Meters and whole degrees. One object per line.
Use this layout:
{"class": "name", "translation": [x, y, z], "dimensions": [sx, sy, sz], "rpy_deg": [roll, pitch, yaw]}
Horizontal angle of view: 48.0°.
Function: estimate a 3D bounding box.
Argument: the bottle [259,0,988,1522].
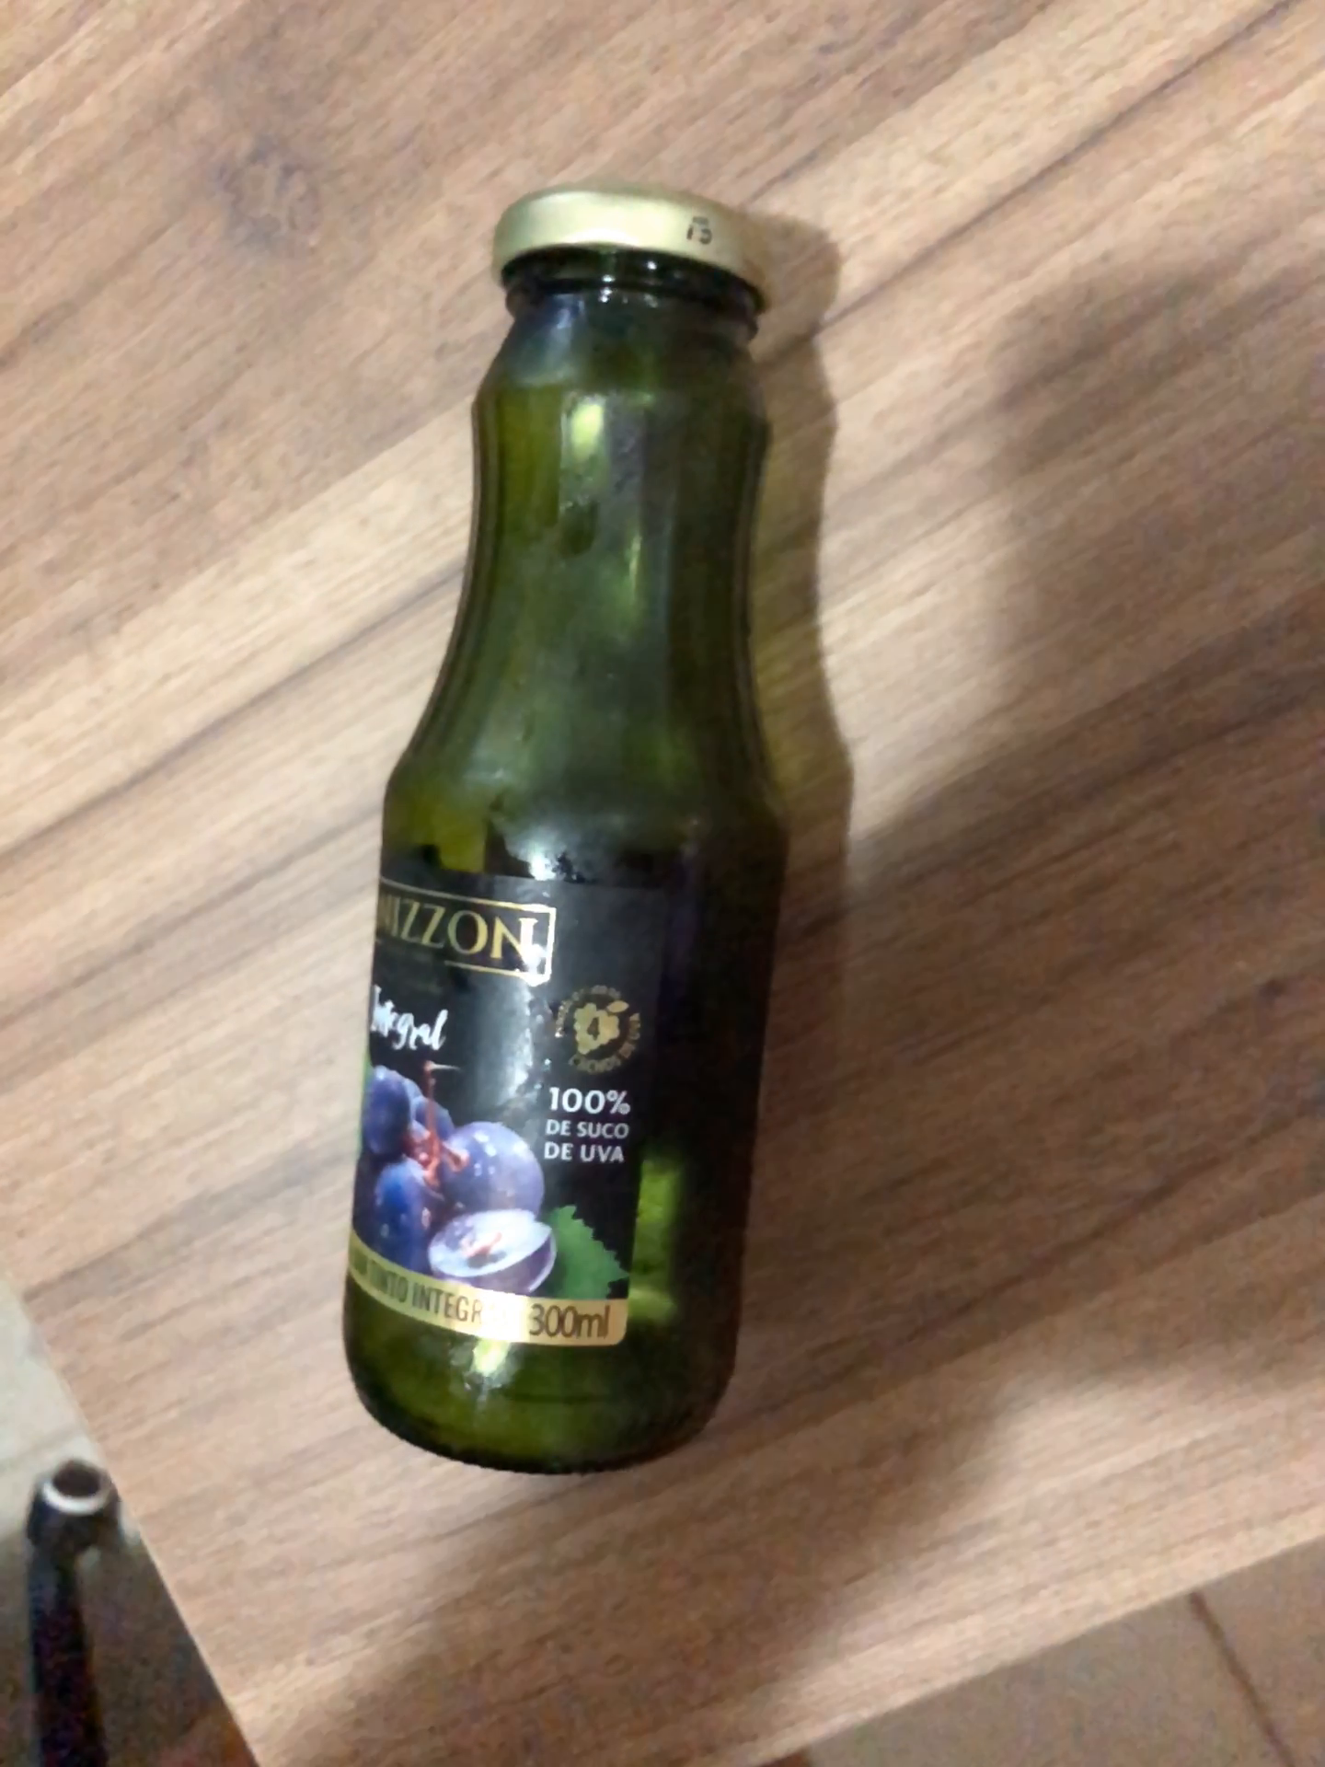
{"class": "bottle", "translation": [-0.010, -0.019, 0.236], "dimensions": [0.070, 0.070, 0.200], "rpy_deg": [12, 99, 49]}
